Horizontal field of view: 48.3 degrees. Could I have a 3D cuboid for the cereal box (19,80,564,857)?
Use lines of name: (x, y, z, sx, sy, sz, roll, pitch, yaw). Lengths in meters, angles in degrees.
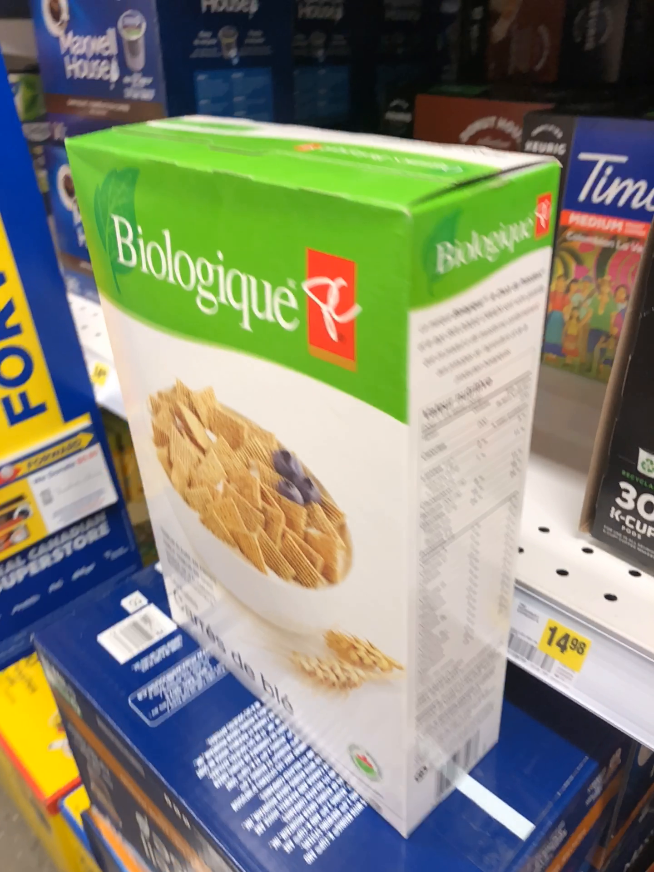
cereal box: (-0.020, 0.008, 0.327, 0.070, 0.289, 0.211, -28, 39, -32)
